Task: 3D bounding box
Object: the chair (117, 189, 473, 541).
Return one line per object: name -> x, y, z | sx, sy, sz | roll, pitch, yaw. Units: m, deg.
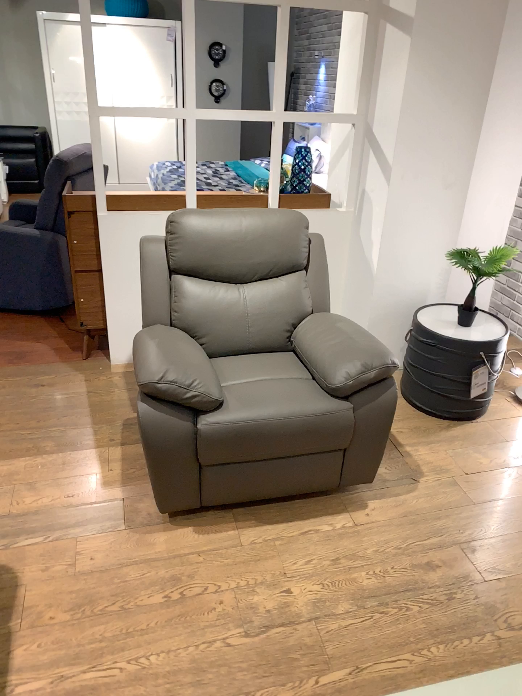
chair -> 0.002, -0.037, 2.049 | 1.000, 0.936, 0.944 | -4, 28, -14
